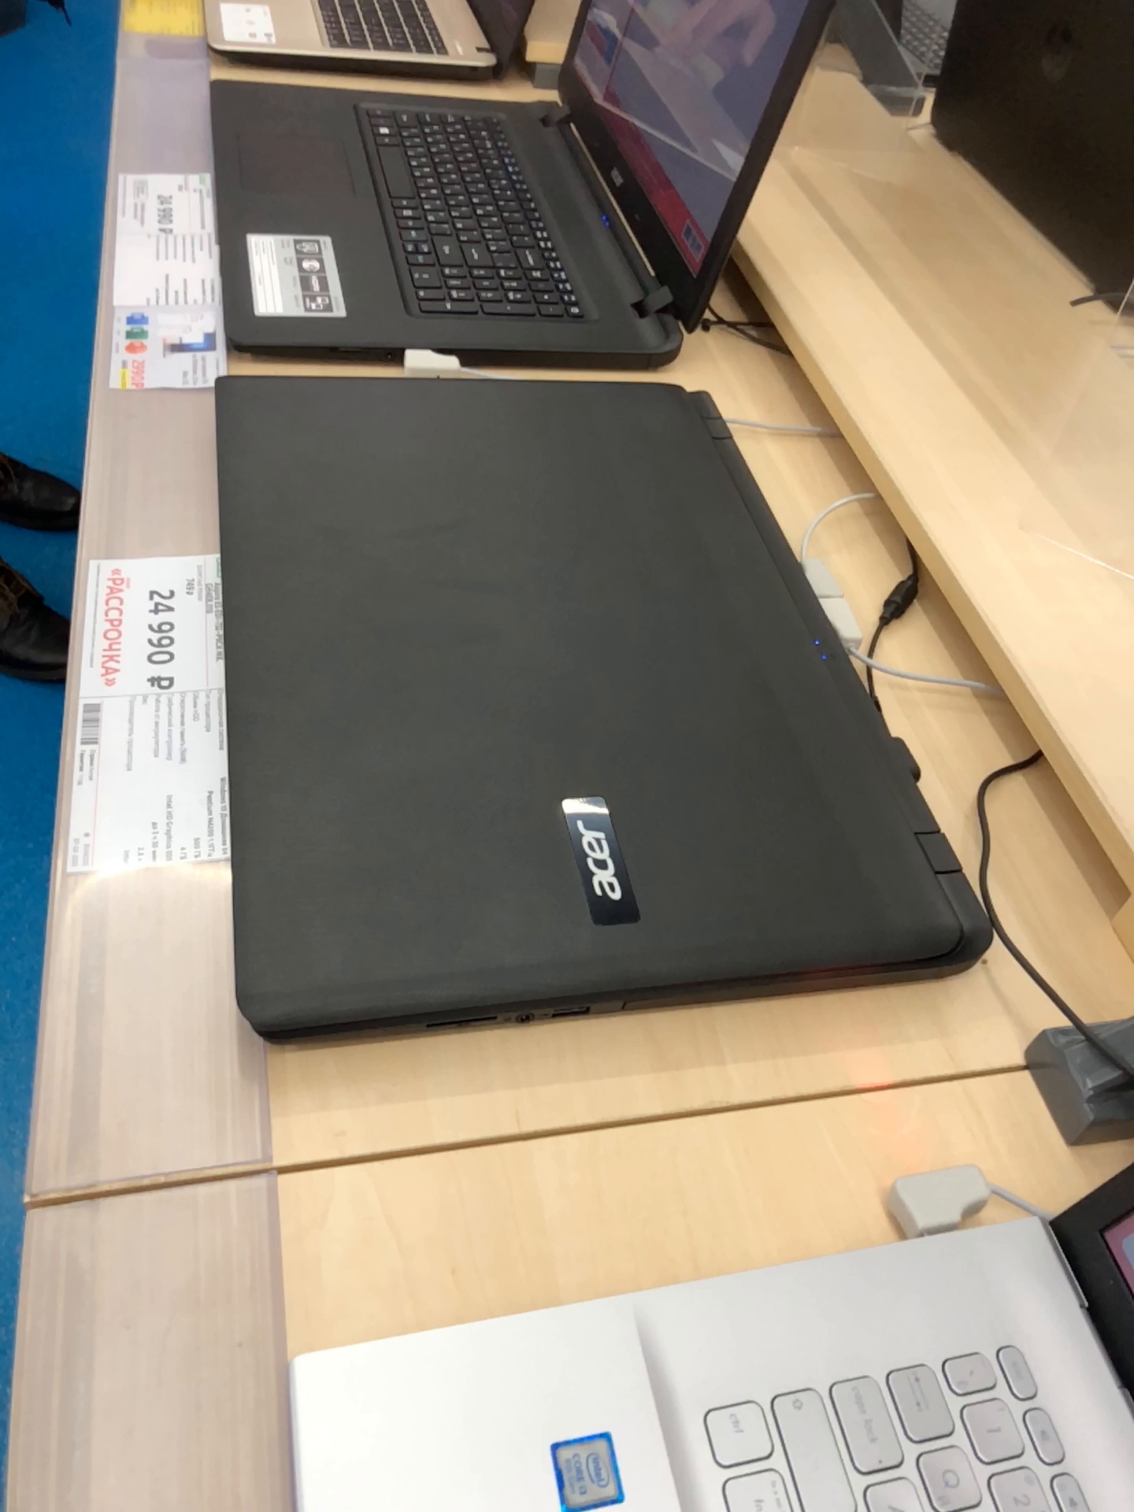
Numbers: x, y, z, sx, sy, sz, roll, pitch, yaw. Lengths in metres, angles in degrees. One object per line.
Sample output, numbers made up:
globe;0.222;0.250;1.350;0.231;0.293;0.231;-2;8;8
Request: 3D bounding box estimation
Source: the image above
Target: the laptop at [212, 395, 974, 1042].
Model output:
laptop;-0.018;-0.061;0.602;0.278;0.005;0.412;-5;48;-15
